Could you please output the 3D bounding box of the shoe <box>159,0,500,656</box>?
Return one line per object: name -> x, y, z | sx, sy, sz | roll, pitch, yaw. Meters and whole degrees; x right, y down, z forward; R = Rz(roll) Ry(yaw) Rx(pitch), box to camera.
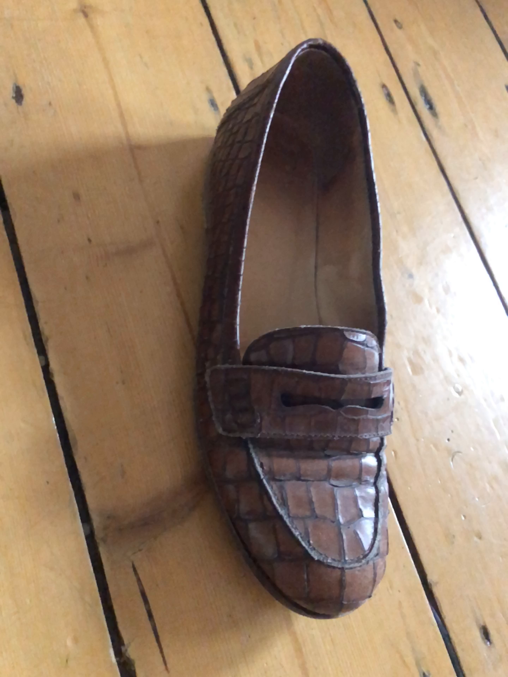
shoe -> 0.013, -0.039, 0.276 | 0.080, 0.100, 0.321 | 2, 69, -24
